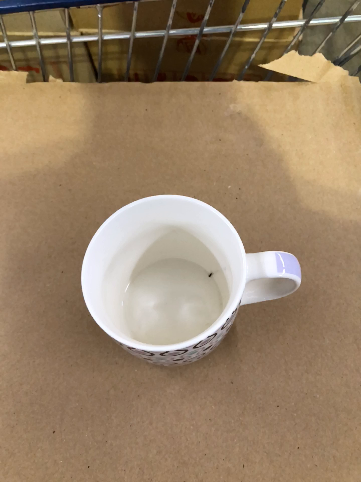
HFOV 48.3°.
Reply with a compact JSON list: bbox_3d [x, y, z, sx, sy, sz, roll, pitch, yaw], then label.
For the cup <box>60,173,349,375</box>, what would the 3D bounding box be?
[{"bbox_3d":[0.010,0.026,0.254,0.140,0.090,0.090,-5,65,0],"label":"cup"}]
